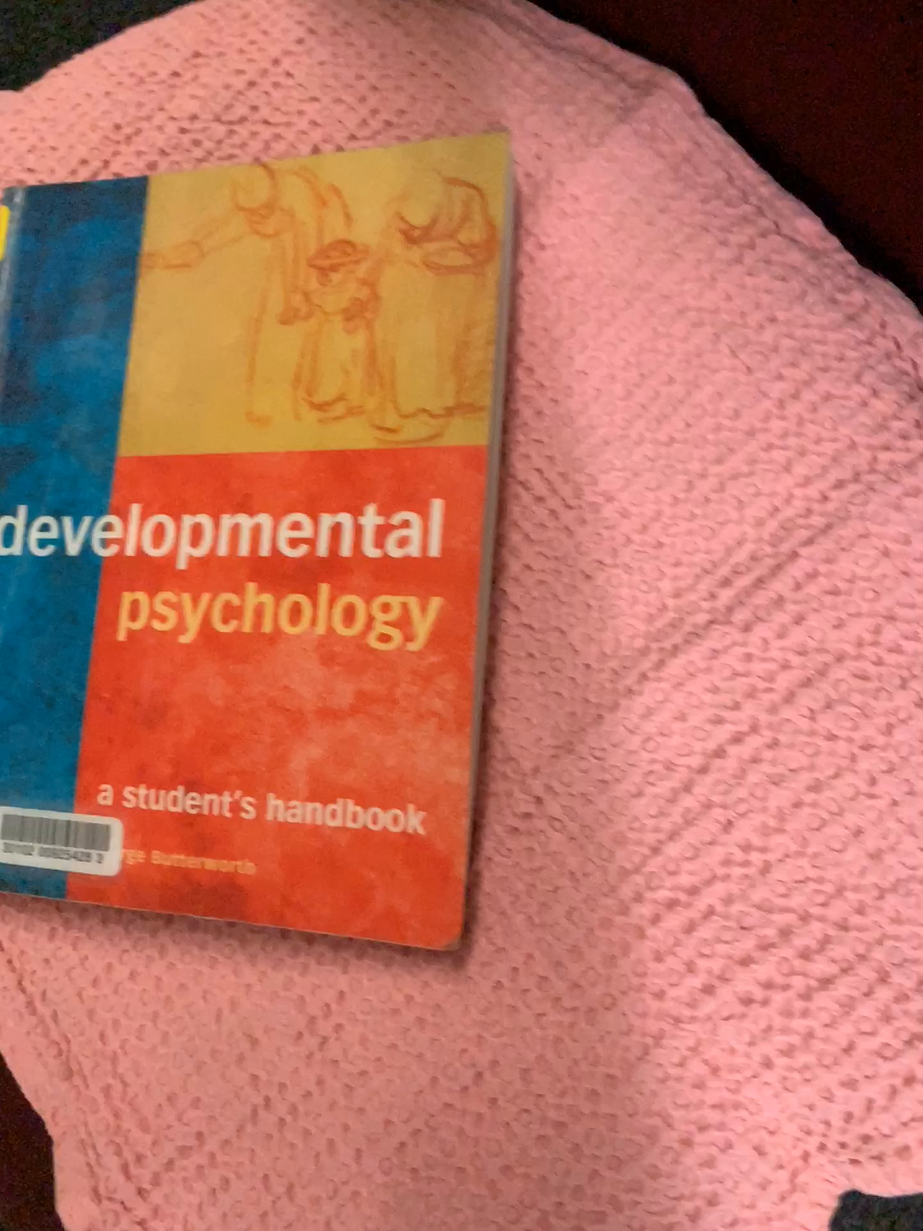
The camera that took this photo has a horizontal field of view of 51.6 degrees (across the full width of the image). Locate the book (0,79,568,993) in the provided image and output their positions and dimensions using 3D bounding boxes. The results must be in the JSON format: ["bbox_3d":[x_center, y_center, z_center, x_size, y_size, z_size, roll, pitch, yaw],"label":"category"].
[{"bbox_3d":[-0.078,-0.031,0.309,0.210,0.040,0.260,1,80,15],"label":"book"}]
